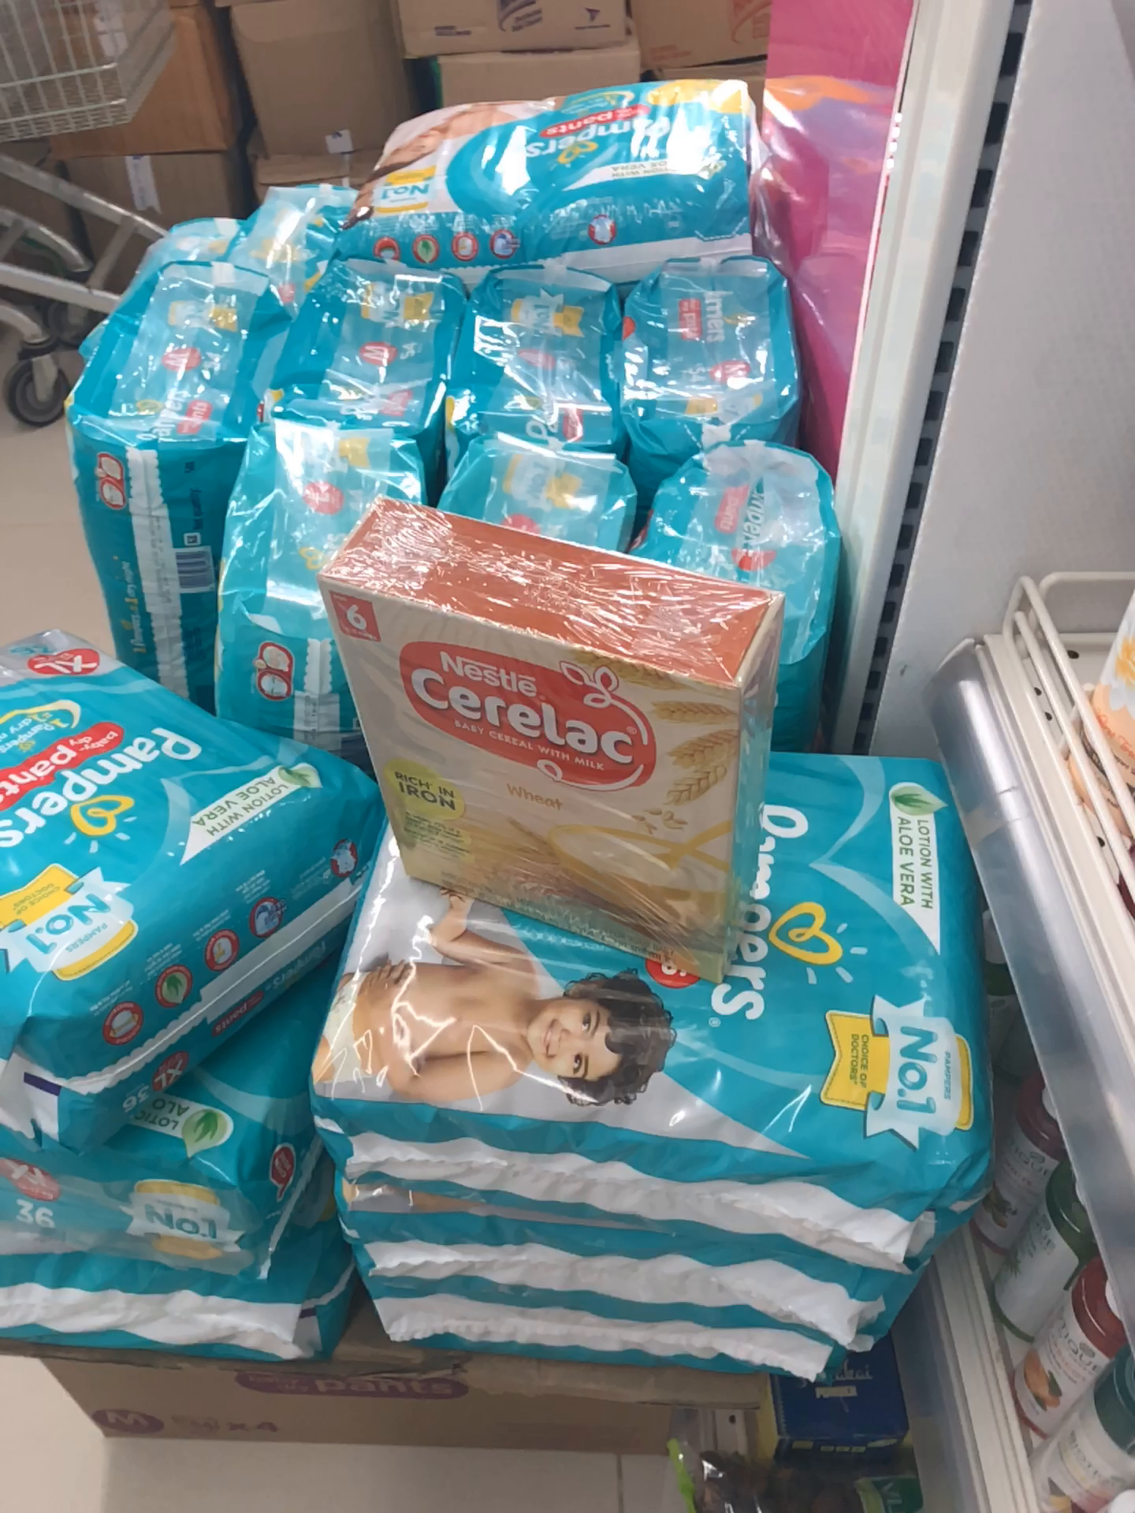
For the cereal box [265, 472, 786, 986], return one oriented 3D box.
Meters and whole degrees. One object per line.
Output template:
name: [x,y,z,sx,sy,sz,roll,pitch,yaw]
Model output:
cereal box: [-0.010,-0.003,0.470,0.160,0.179,0.050,16,55,17]
